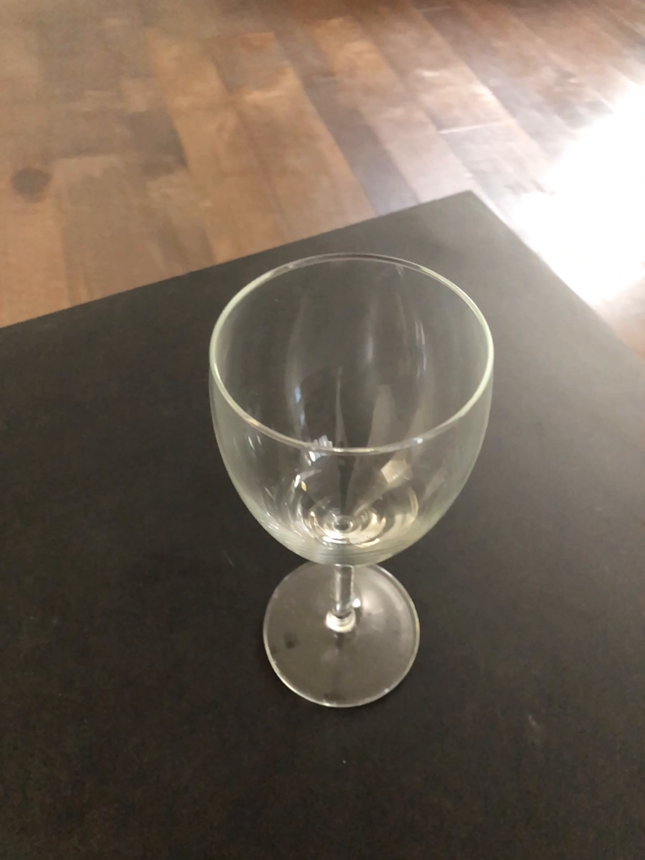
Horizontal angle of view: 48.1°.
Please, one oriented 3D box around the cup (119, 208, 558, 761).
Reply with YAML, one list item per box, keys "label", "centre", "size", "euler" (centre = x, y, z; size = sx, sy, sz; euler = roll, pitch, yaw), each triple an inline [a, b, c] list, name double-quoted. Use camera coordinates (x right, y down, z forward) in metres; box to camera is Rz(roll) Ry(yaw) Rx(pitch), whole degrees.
- label: "cup"
  centre: [0.003, 0.032, 0.255]
  size: [0.080, 0.179, 0.080]
  euler: [0, 51, 0]
